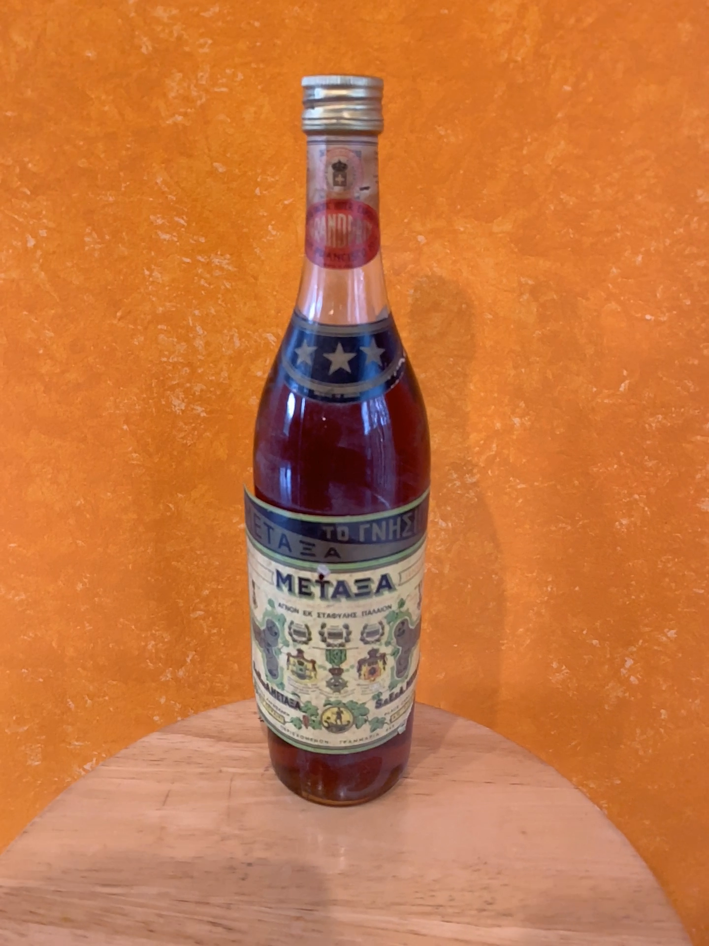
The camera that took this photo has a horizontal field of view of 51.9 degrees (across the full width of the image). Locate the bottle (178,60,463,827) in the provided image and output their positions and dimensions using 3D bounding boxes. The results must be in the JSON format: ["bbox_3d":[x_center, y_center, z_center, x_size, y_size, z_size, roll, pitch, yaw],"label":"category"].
[{"bbox_3d":[-0.009,0.006,0.298,0.080,0.298,0.070,4,26,6],"label":"bottle"}]
